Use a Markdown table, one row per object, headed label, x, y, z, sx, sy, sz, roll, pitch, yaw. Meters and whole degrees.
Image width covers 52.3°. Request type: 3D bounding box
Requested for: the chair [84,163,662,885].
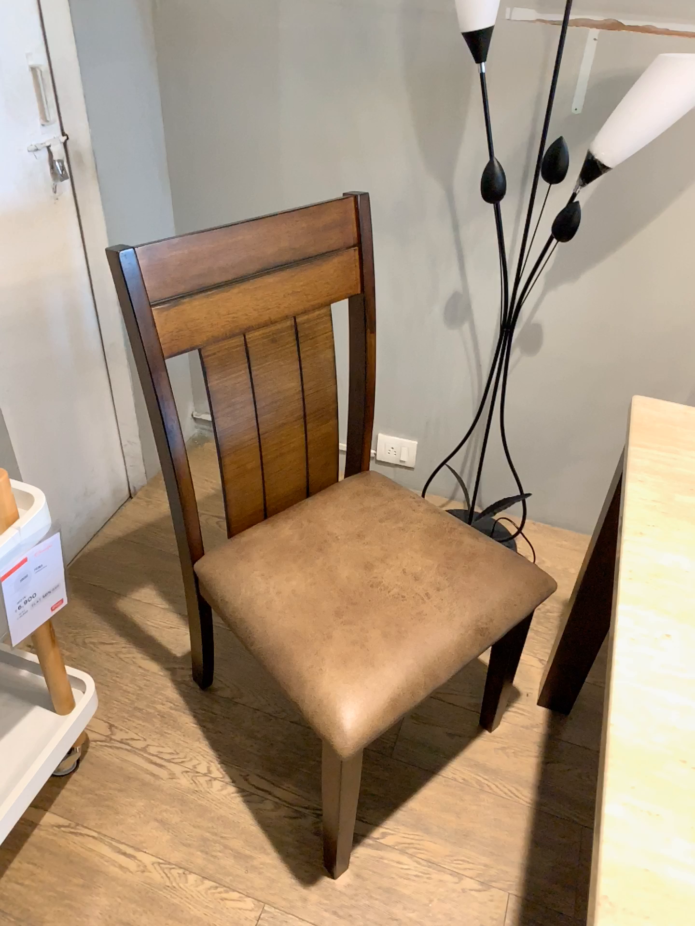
| label | x | y | z | sx | sy | sz | roll | pitch | yaw |
| --- | --- | --- | --- | --- | --- | --- | --- | --- | --- |
| chair | 0.004 | 0.109 | 1.220 | 0.511 | 0.996 | 0.551 | -28 | 47 | -33 |
